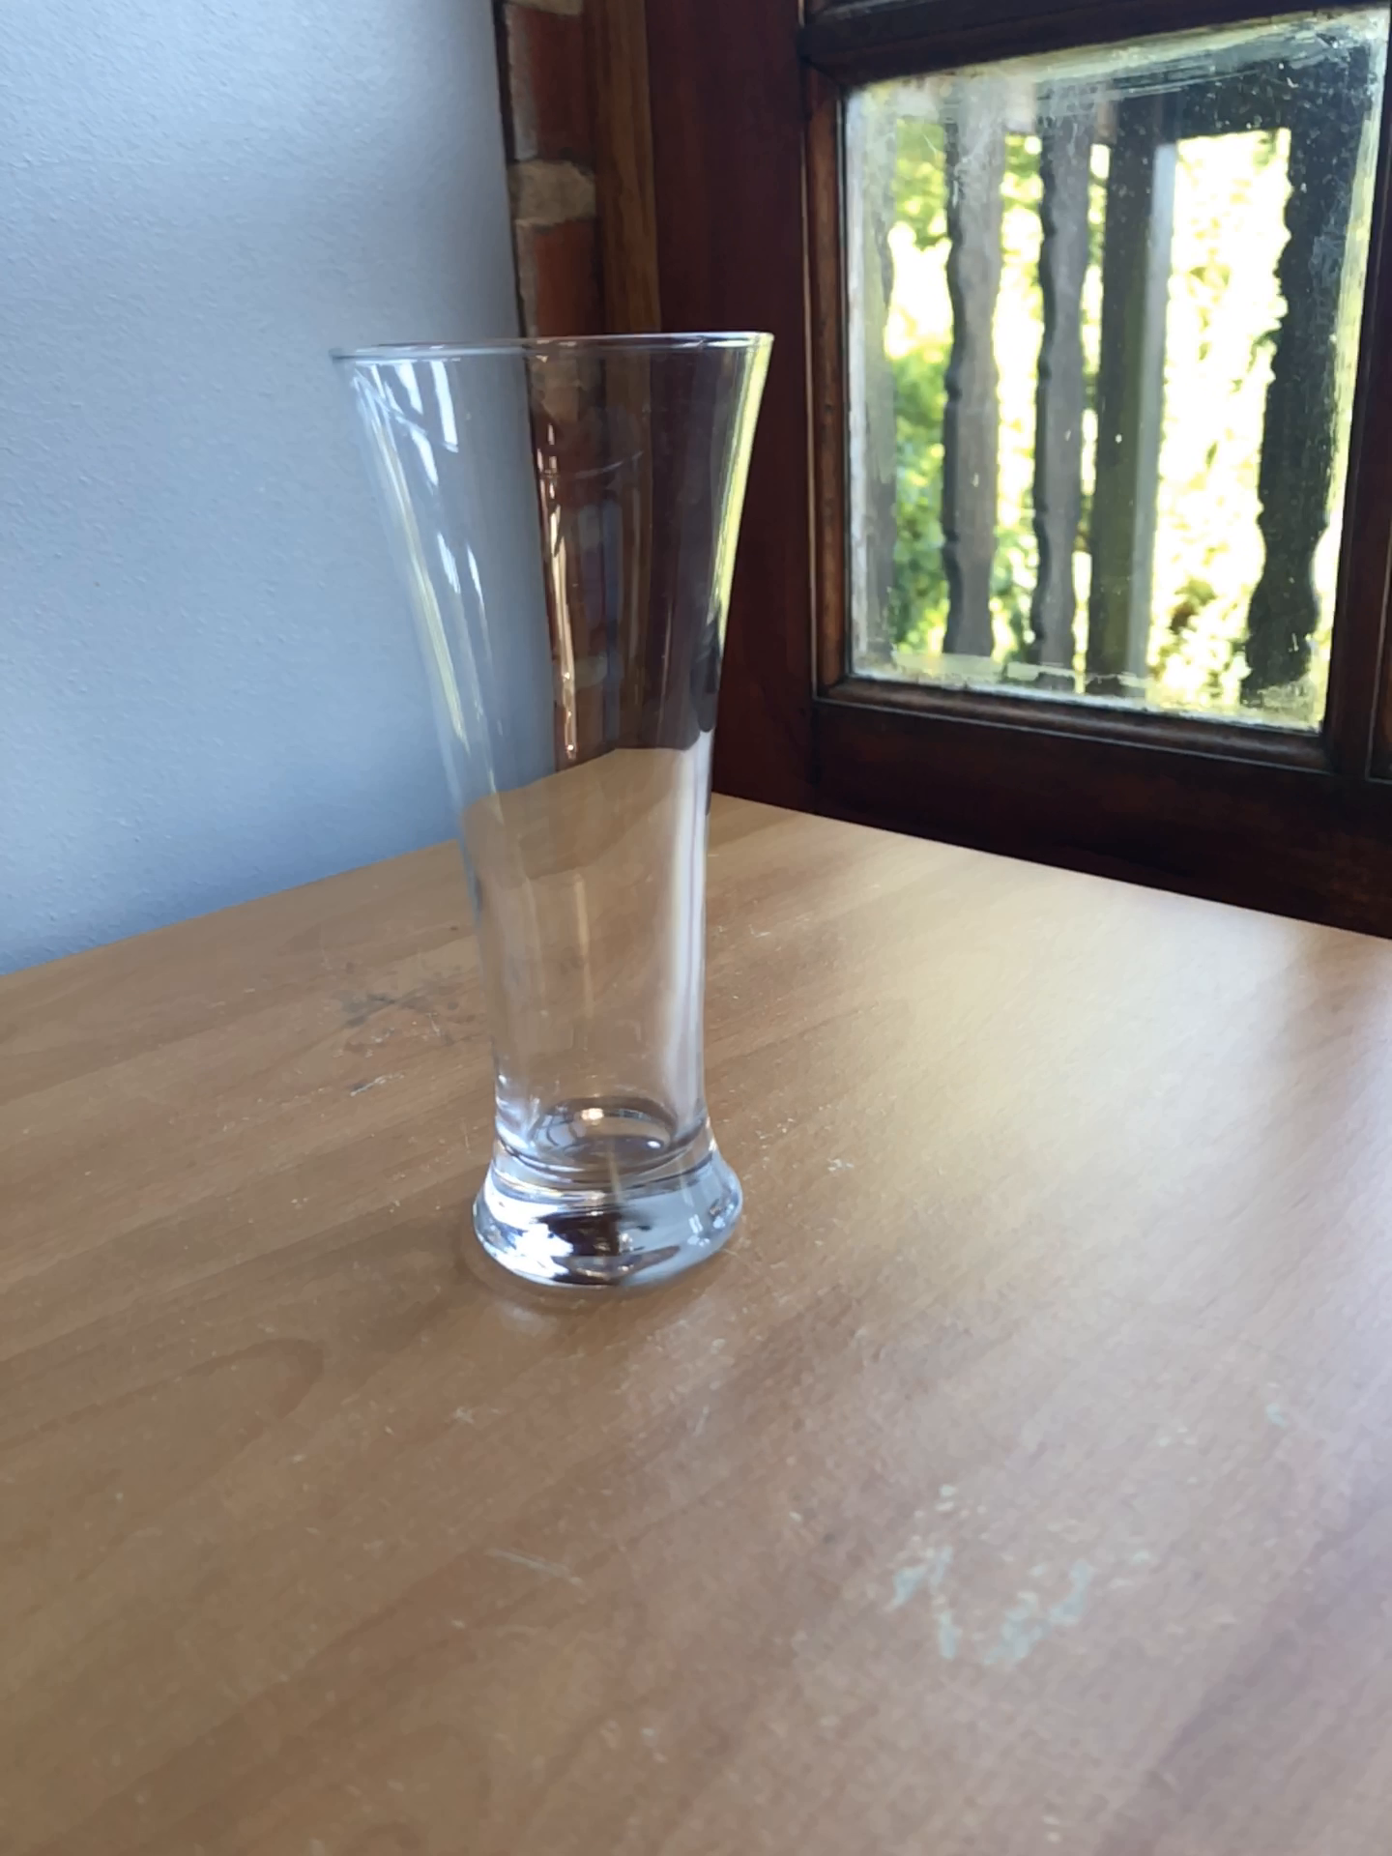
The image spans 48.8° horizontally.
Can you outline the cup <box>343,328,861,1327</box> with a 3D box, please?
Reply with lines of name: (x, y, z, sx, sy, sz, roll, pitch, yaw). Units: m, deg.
cup: (-0.018, -0.023, 0.293, 0.076, 0.168, 0.083, 0, 20, 0)
